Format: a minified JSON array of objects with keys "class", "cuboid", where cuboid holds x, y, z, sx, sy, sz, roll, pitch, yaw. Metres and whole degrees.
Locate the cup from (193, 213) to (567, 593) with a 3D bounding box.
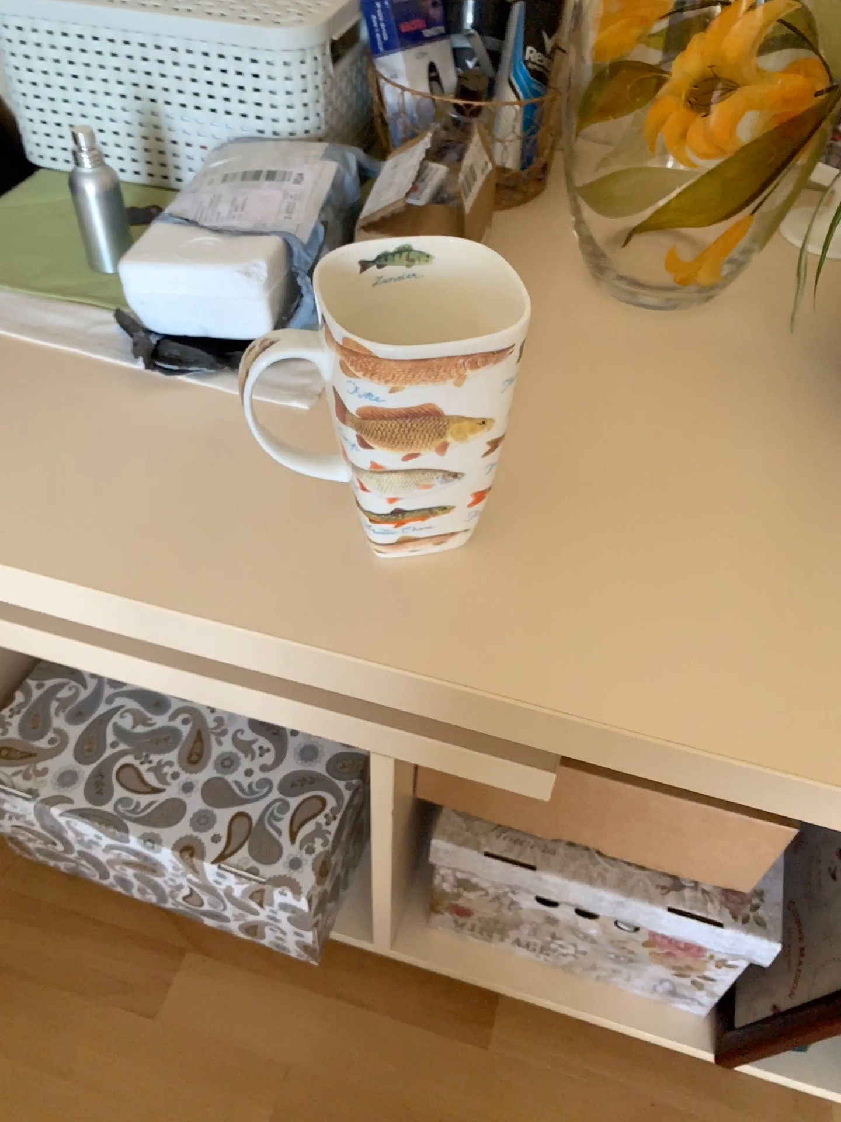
[{"class":"cup","cuboid":[-0.024,-0.075,0.412,0.140,0.129,0.101,-8,48,-11]}]
